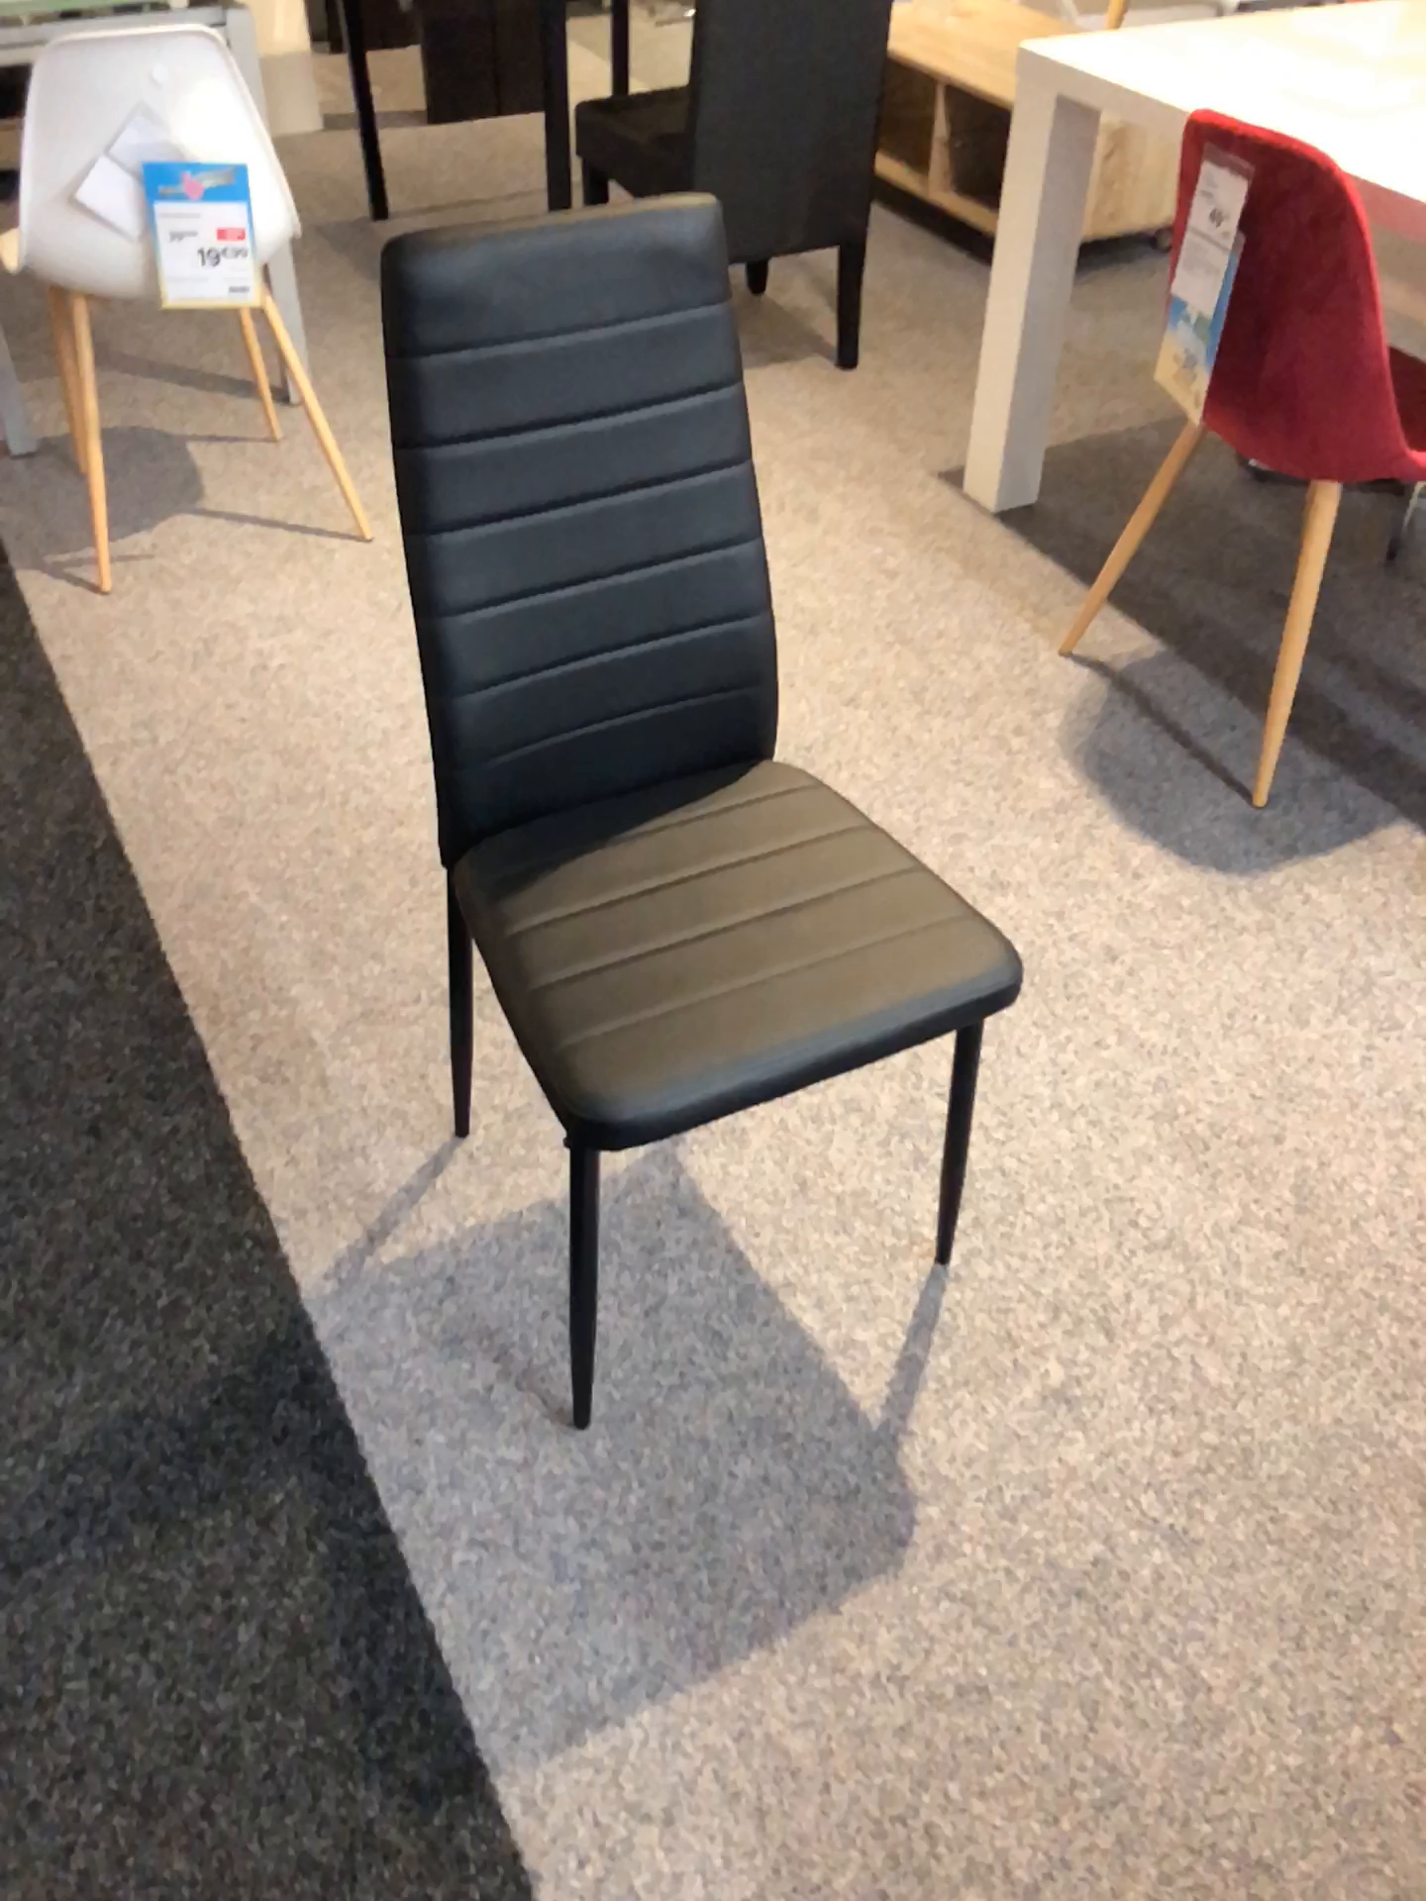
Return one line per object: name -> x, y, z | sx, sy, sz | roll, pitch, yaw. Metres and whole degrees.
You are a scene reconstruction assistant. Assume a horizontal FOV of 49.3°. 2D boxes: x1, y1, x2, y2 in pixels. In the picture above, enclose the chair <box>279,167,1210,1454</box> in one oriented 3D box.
chair -> -0.008, -0.093, 1.365 | 0.471, 0.935, 0.471 | -17, 45, -20
